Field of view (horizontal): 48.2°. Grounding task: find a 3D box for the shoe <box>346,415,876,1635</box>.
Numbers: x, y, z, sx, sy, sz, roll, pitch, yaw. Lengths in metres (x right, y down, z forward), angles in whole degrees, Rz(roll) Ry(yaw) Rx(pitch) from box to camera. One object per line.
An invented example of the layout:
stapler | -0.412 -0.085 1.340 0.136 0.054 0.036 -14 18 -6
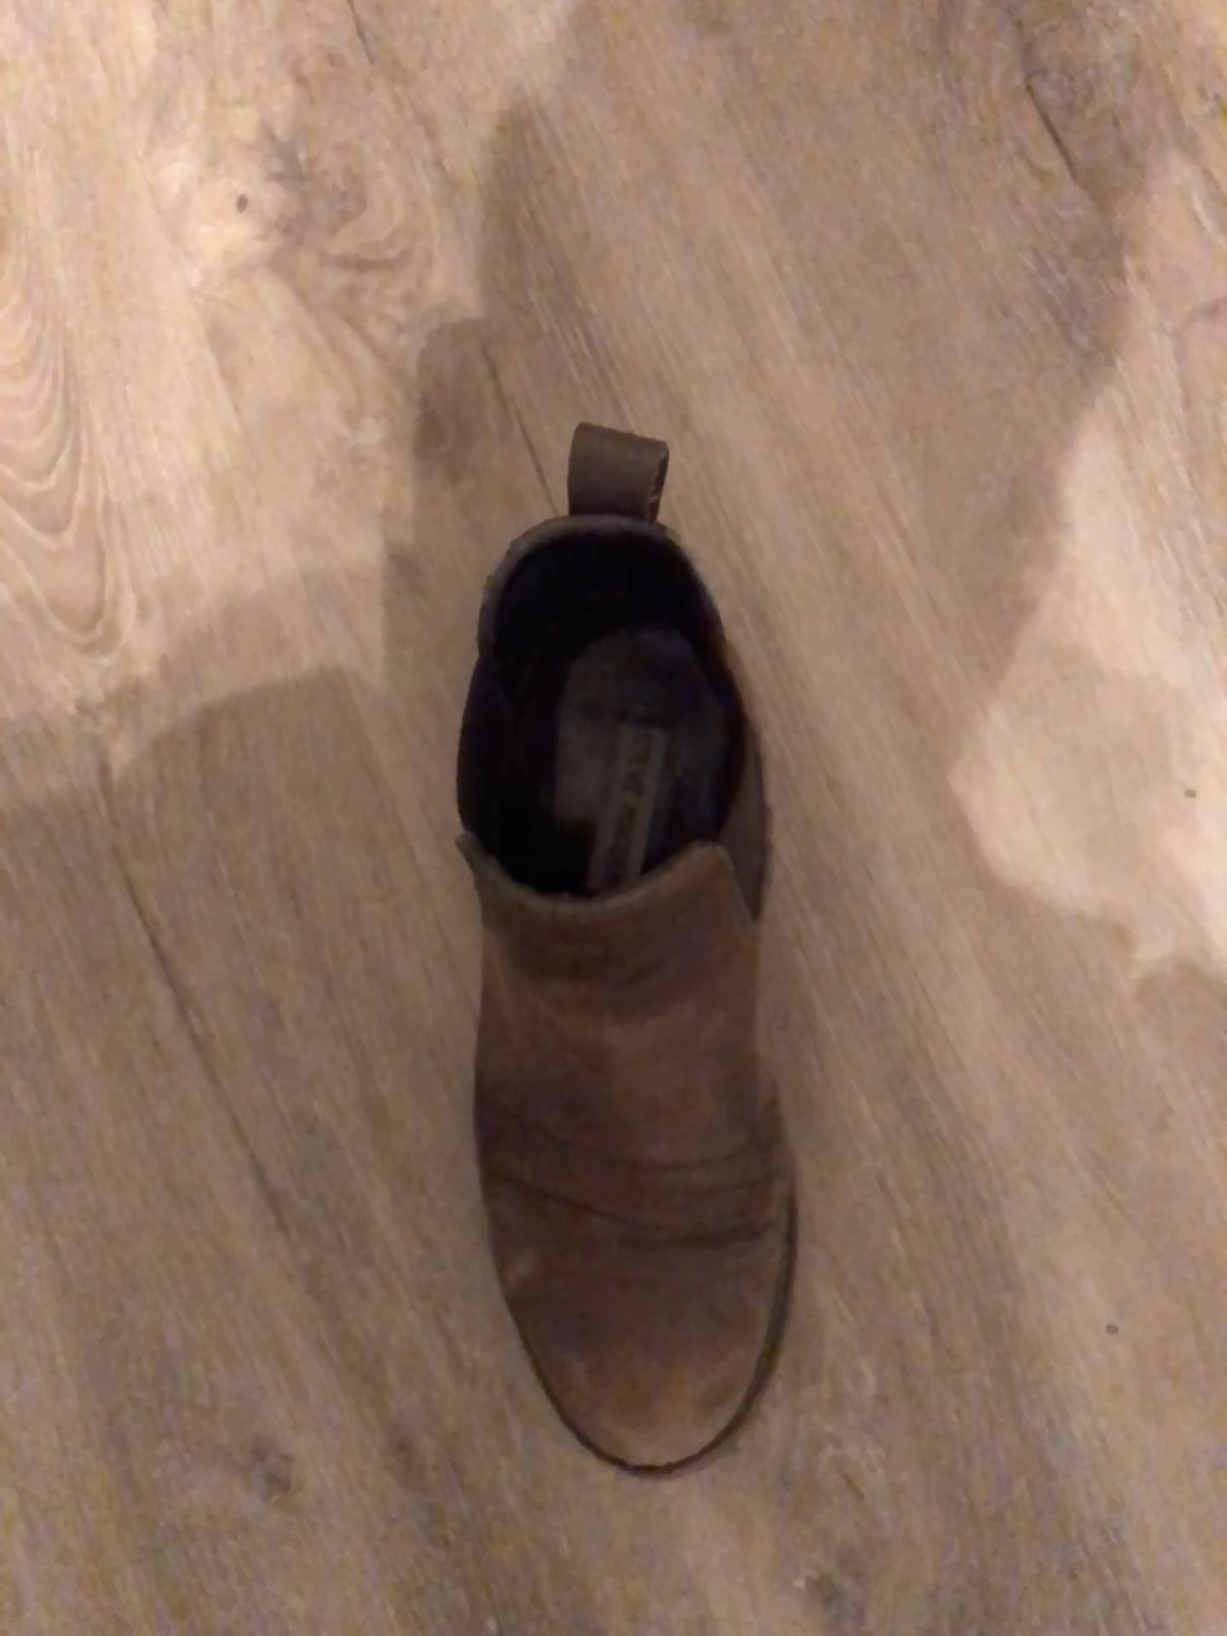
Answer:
shoe | 0.001 0.046 0.345 0.100 0.140 0.240 -2 82 4
